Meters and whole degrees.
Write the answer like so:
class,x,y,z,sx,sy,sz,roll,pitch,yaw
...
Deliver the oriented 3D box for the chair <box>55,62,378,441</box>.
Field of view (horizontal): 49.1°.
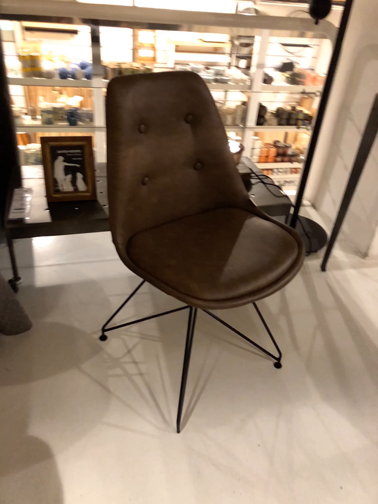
class,x,y,z,sx,sy,sz,roll,pitch,yaw
chair,0.023,-0.045,1.138,0.512,0.754,0.552,-19,42,-32
